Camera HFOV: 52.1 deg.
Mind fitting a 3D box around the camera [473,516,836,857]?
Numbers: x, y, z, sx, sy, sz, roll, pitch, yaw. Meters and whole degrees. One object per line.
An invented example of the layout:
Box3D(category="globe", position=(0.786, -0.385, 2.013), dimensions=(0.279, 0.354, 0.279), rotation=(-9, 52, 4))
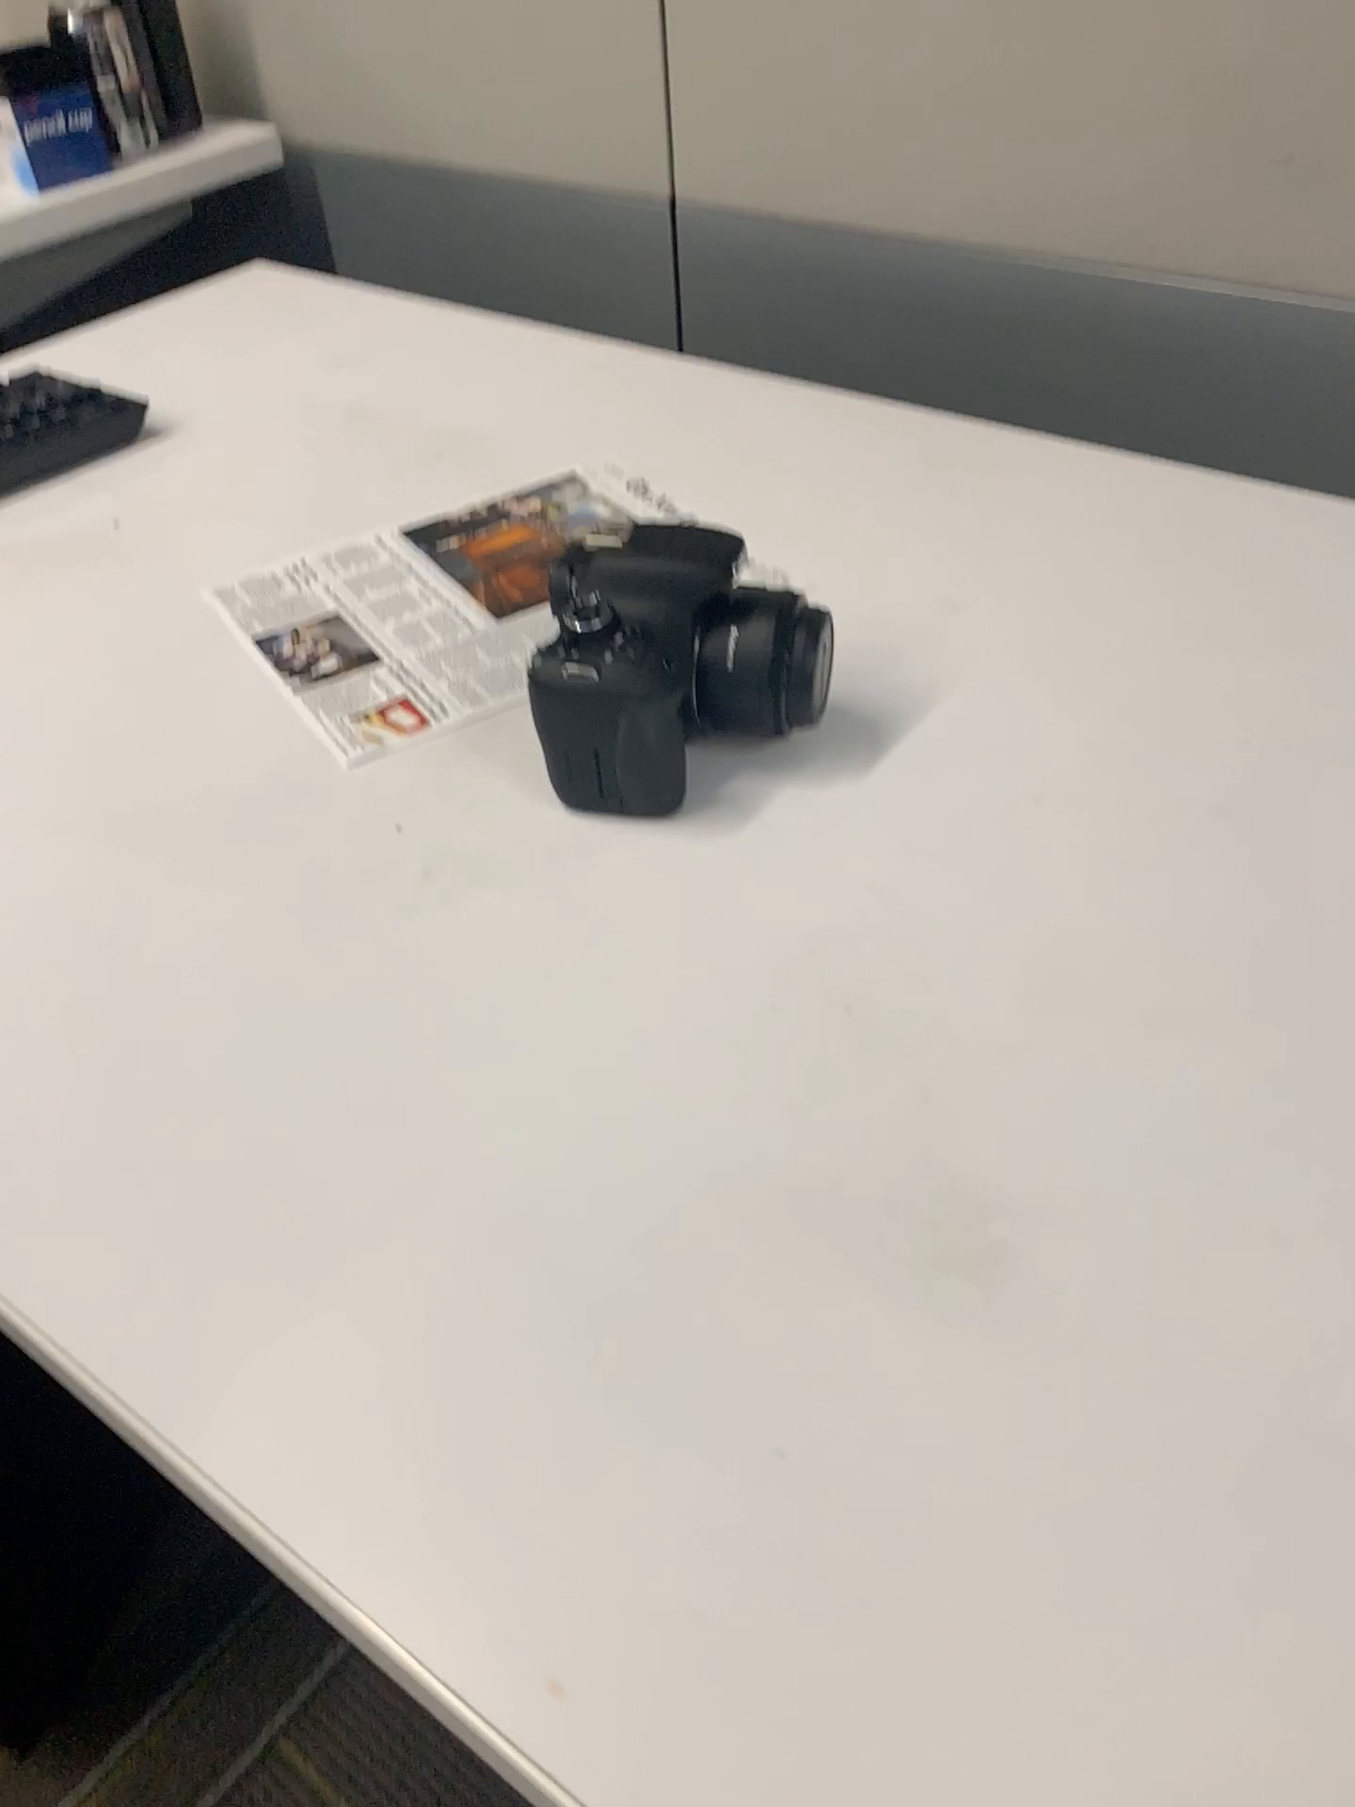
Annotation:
Box3D(category="camera", position=(-0.003, -0.109, 0.662), dimensions=(0.136, 0.084, 0.152), rotation=(6, 42, 12))
